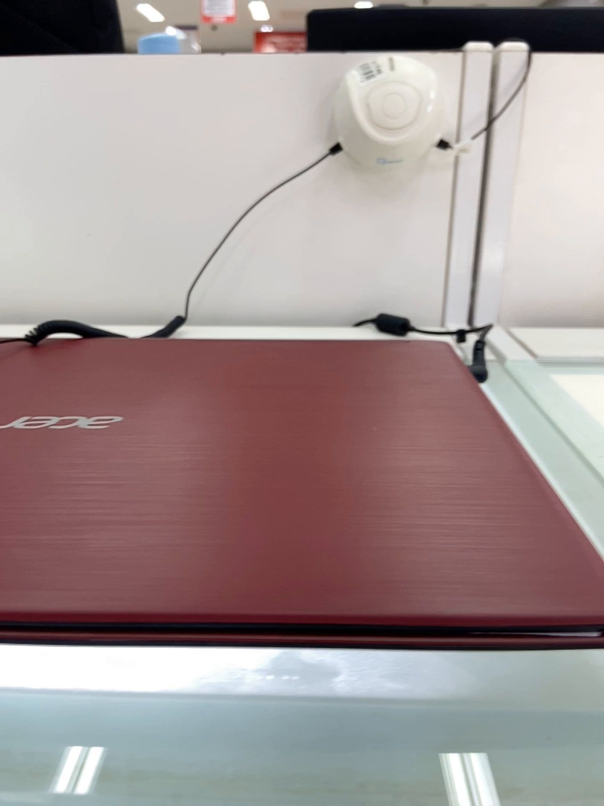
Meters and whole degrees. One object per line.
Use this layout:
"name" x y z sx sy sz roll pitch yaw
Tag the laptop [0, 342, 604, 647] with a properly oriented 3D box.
"laptop" -0.098 0.011 0.284 0.367 0.006 0.263 1 20 2
